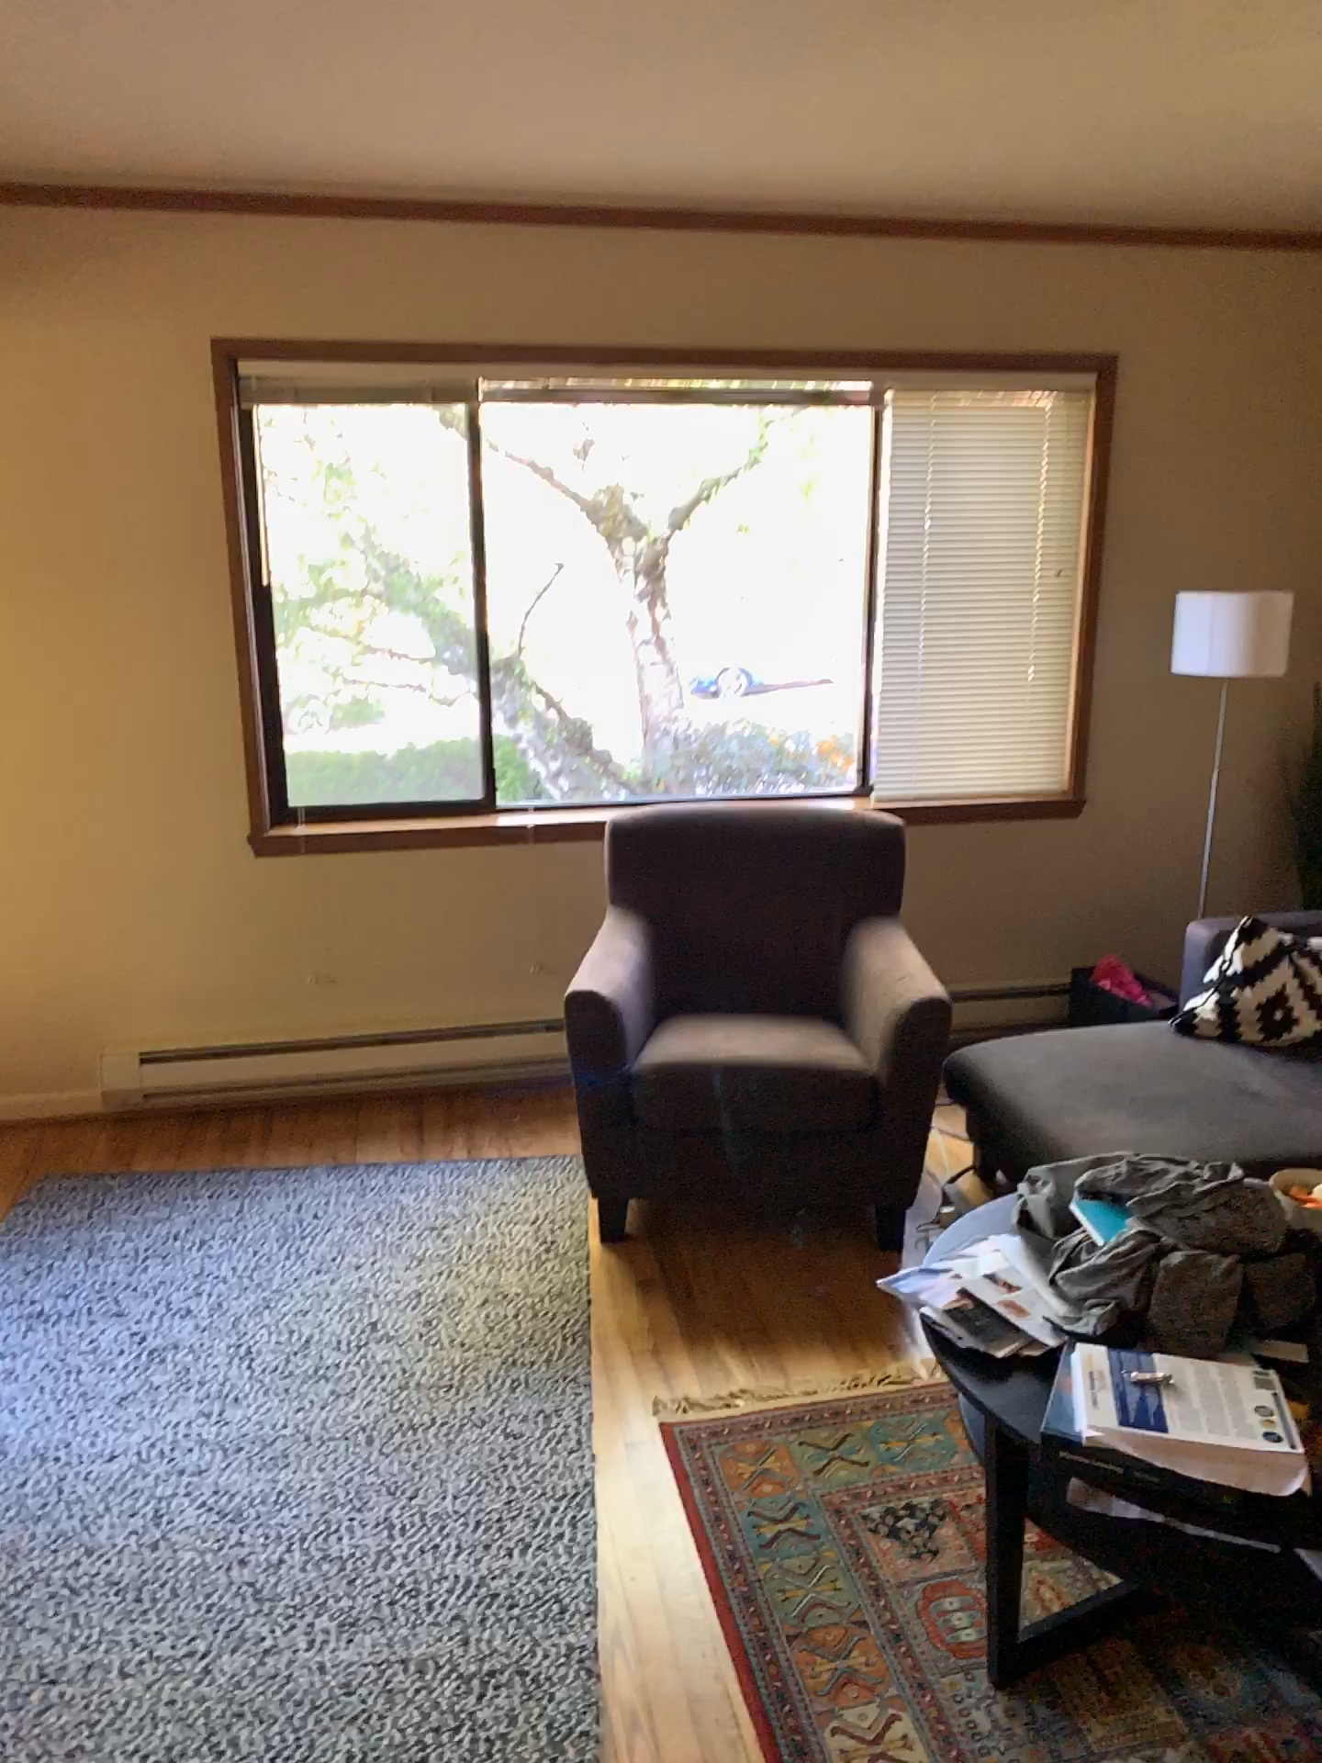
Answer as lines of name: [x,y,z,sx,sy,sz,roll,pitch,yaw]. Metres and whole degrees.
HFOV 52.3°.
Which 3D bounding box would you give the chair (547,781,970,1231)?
chair: [0.217,0.250,3.287,0.880,0.877,0.802,1,12,2]
